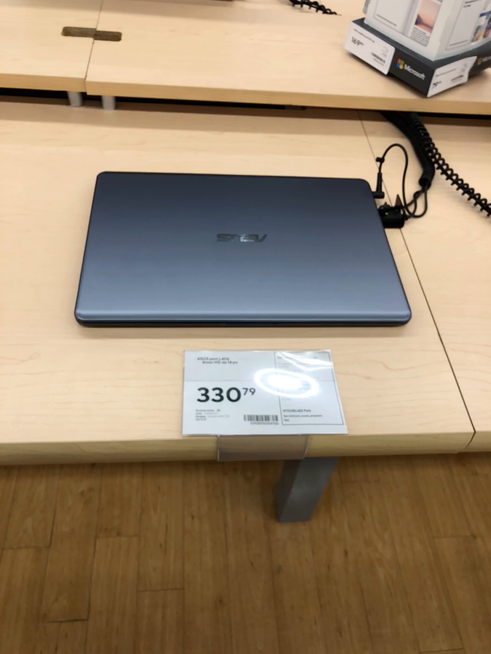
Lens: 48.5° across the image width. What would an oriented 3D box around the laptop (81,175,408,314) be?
[{"bbox_3d":[-0.004,-0.096,0.592,0.318,0.001,0.211,0,52,-6],"label":"laptop"}]
